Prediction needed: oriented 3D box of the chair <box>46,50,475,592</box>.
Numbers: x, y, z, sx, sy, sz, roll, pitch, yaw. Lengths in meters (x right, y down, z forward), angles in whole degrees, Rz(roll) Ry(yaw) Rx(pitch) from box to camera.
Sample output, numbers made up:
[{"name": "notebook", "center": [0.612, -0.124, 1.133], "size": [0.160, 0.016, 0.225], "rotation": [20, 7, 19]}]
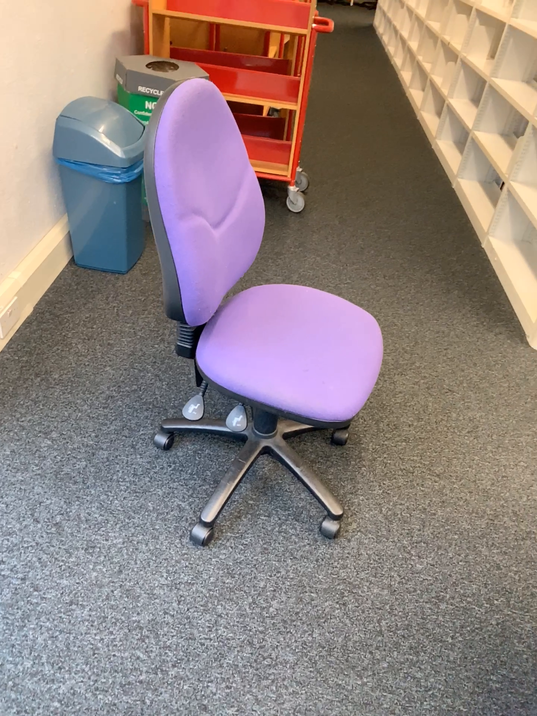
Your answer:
[{"name": "chair", "center": [0.009, -0.098, 1.330], "size": [0.635, 0.983, 0.674], "rotation": [16, 38, 10]}]
